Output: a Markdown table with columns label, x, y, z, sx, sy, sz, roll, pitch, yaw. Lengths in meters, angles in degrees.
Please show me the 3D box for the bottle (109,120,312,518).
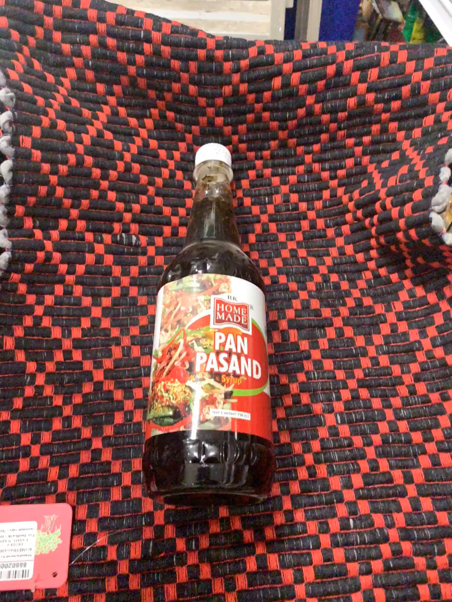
| label | x | y | z | sx | sy | sz | roll | pitch | yaw |
| --- | --- | --- | --- | --- | --- | --- | --- | --- | --- |
| bottle | -0.007 | -0.010 | 0.325 | 0.090 | 0.080 | 0.281 | 1 | 52 | -1 |
